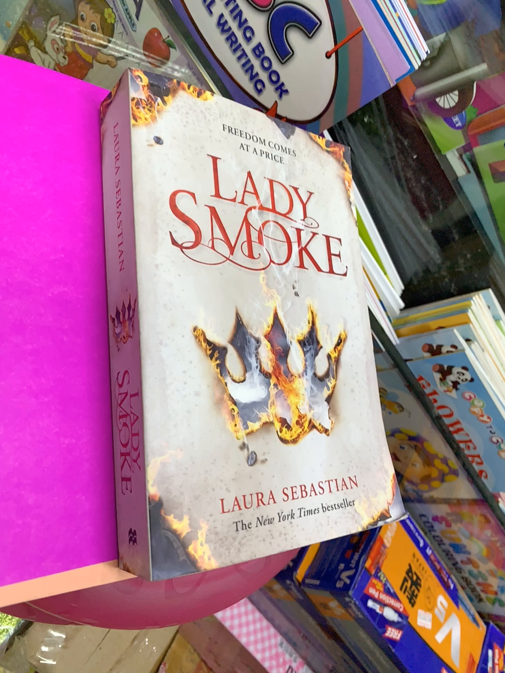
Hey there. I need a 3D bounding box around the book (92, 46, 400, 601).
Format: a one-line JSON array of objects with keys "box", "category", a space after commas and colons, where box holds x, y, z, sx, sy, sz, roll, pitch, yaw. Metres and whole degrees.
[{"box": [0.000, -0.006, 0.248, 0.131, 0.050, 0.200, 2, 81, -40], "category": "book"}]
